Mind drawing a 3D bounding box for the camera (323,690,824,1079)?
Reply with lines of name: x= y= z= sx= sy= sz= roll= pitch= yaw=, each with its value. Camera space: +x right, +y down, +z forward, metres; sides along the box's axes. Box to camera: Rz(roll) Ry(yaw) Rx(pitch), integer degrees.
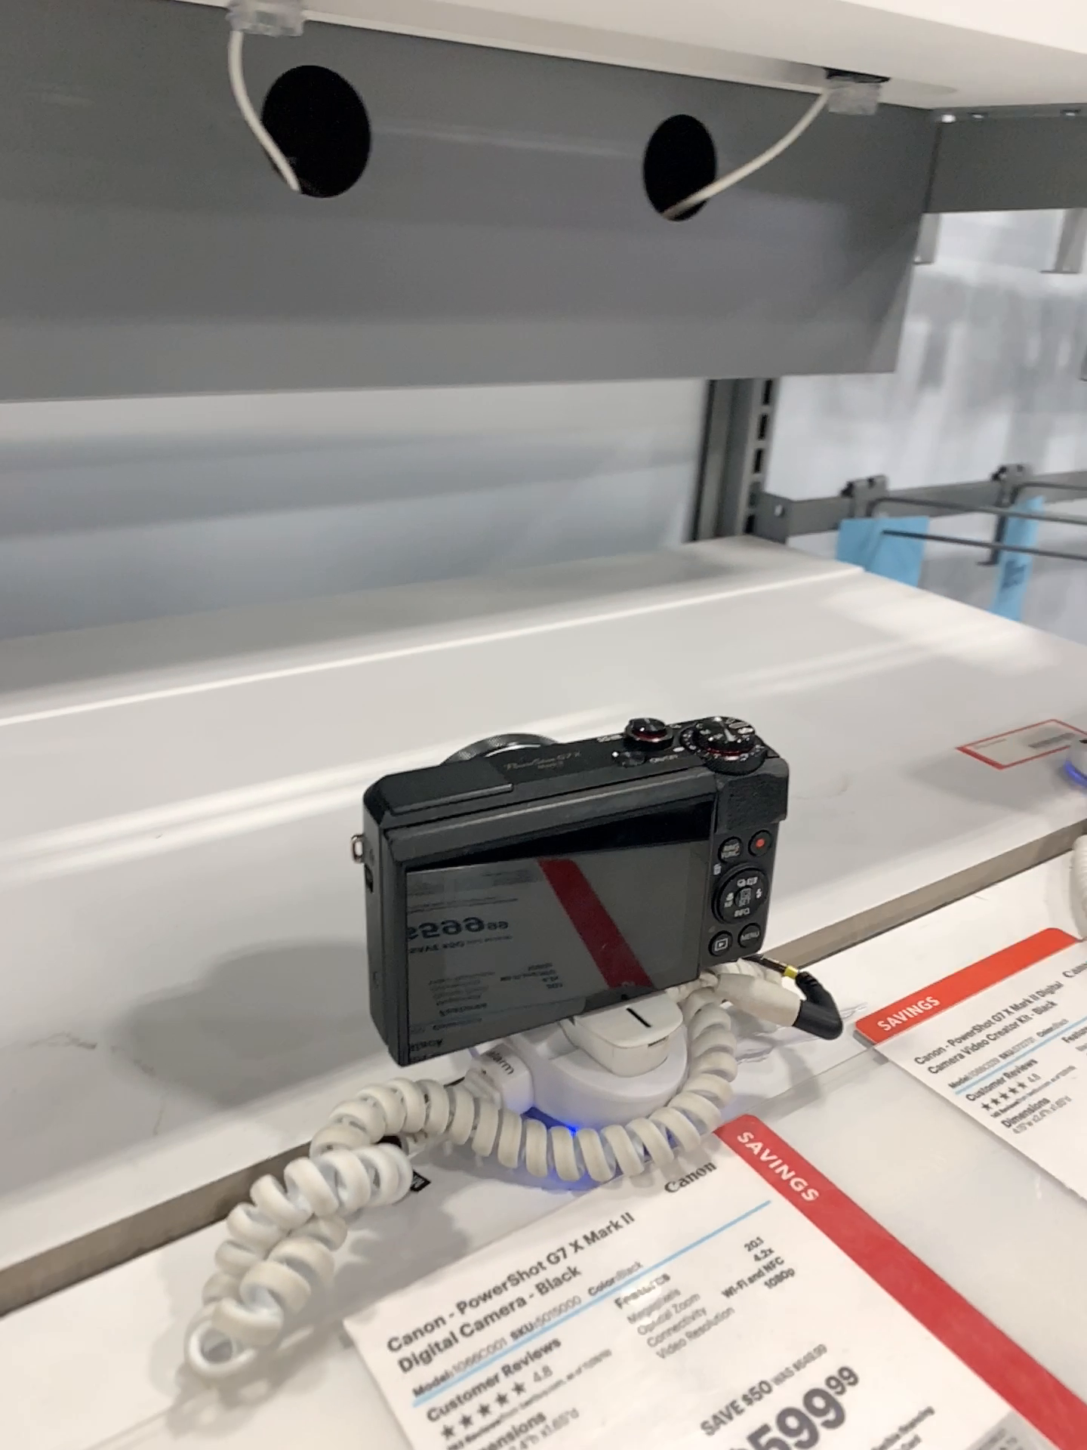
camera: x=0.007 y=0.034 z=0.274 sx=0.110 sy=0.060 sz=0.044 roll=-8 pitch=26 yaw=-27
